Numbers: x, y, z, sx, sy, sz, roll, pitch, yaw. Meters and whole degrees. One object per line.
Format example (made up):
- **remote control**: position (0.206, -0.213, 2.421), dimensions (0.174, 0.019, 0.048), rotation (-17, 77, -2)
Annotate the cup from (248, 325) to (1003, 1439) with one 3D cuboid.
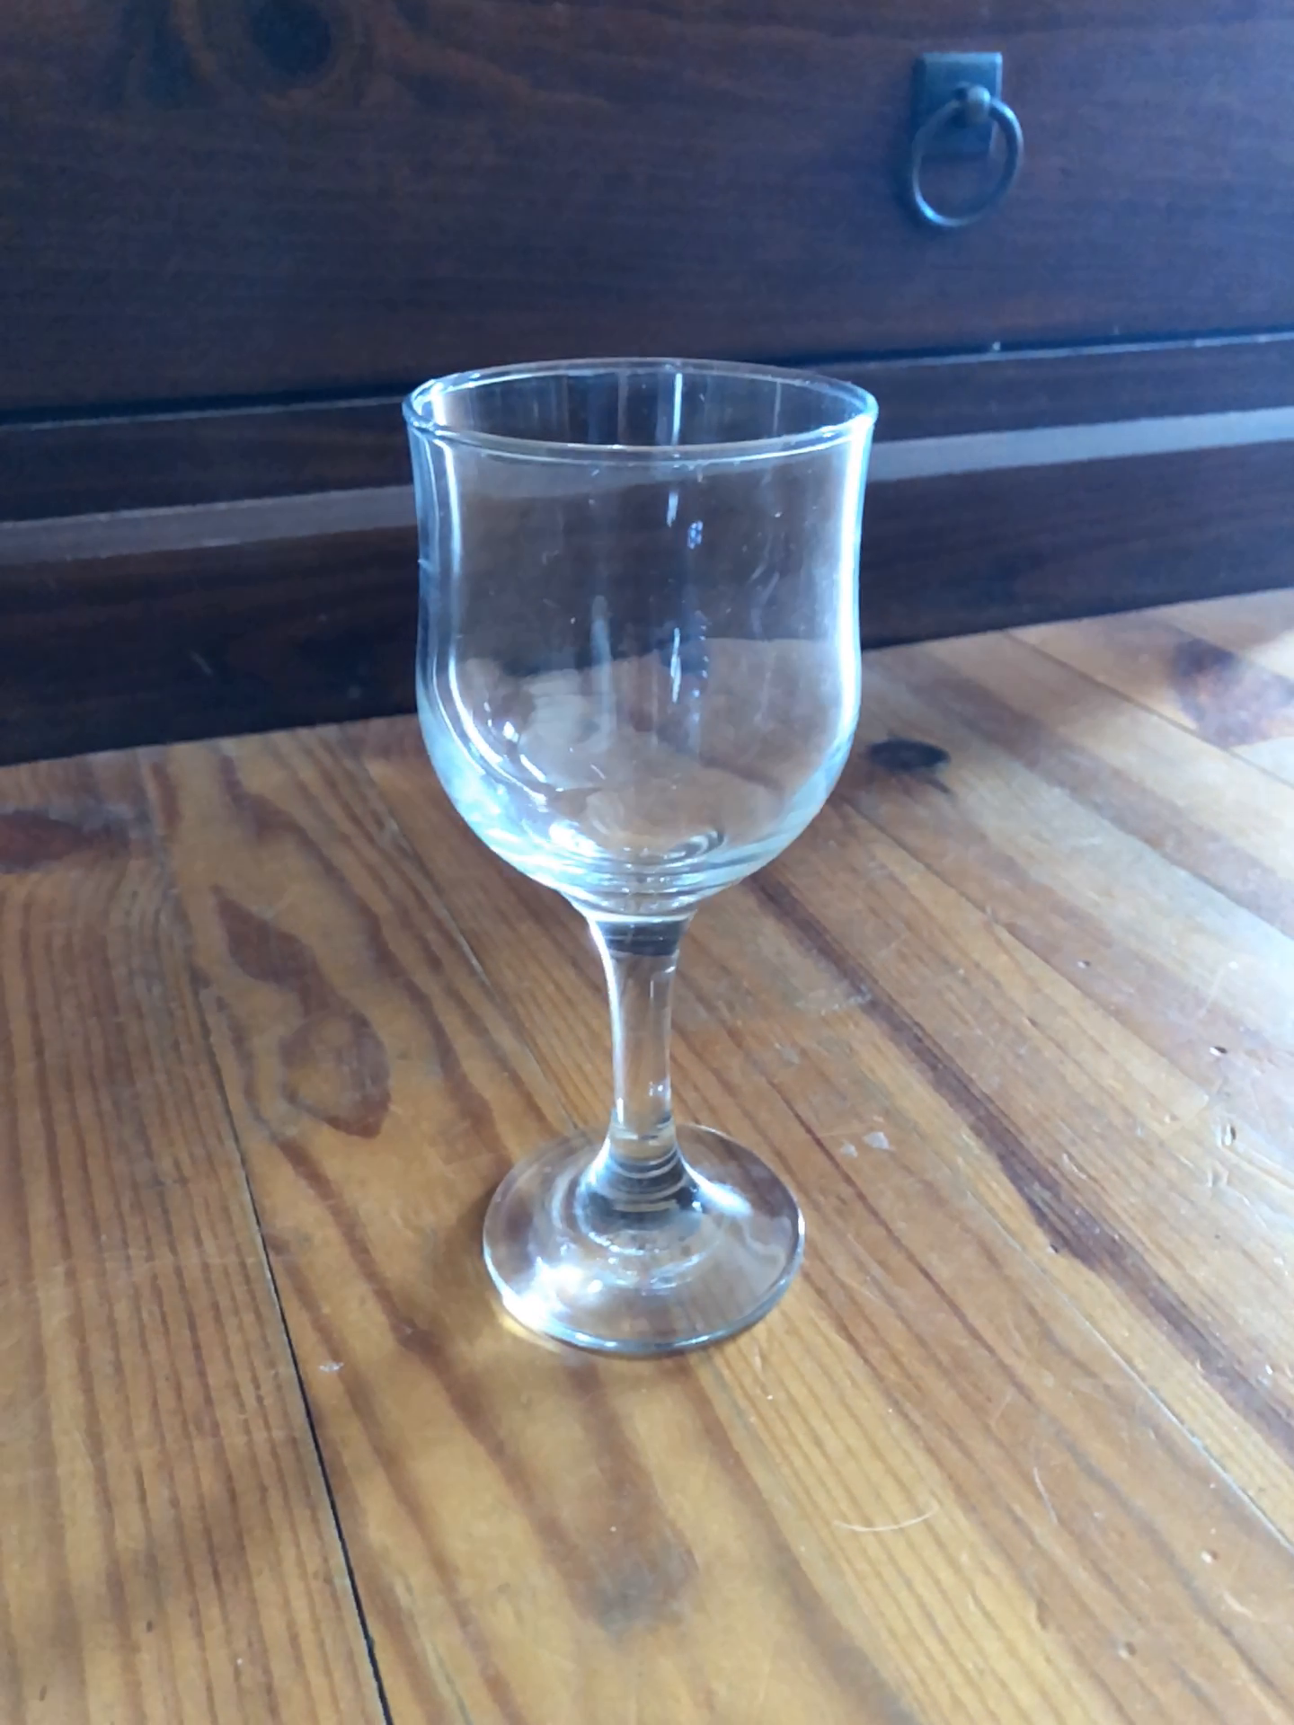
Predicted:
- **cup**: position (-0.001, -0.002, 0.248), dimensions (0.076, 0.157, 0.083), rotation (0, 28, 0)
